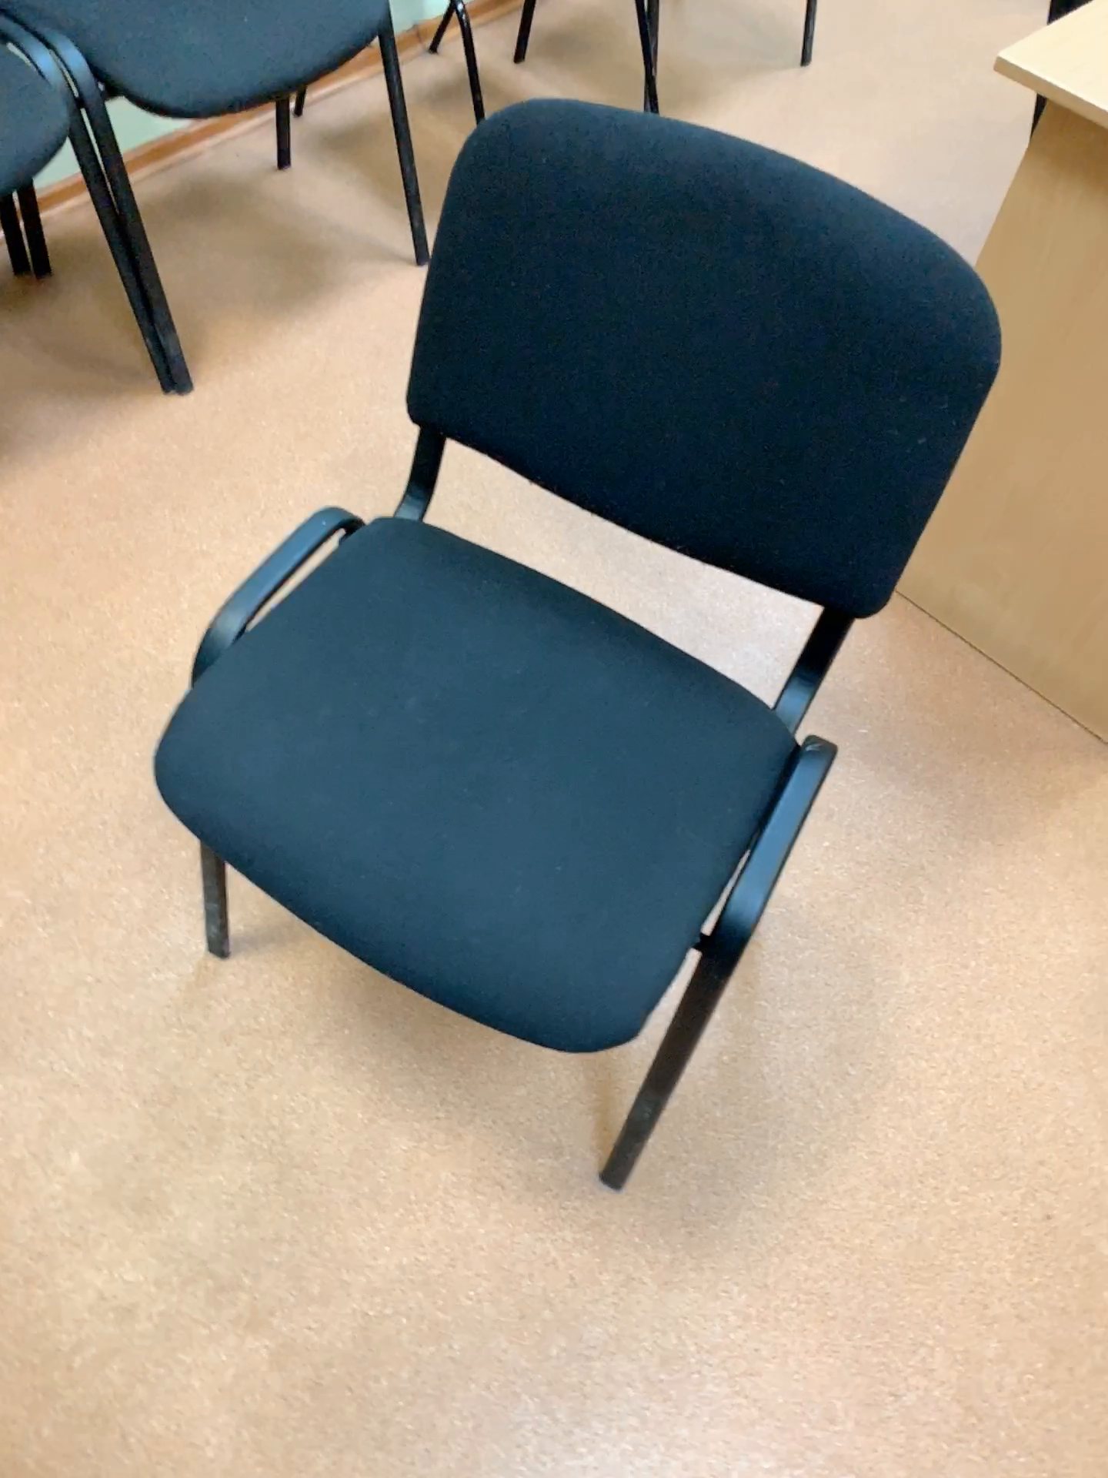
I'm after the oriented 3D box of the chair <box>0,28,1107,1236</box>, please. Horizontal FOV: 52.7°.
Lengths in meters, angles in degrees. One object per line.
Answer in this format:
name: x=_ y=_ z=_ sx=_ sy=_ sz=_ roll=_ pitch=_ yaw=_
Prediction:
chair: x=-0.010 y=-0.037 z=1.046 sx=0.574 sy=0.785 sz=0.593 roll=28 pitch=59 yaw=12
